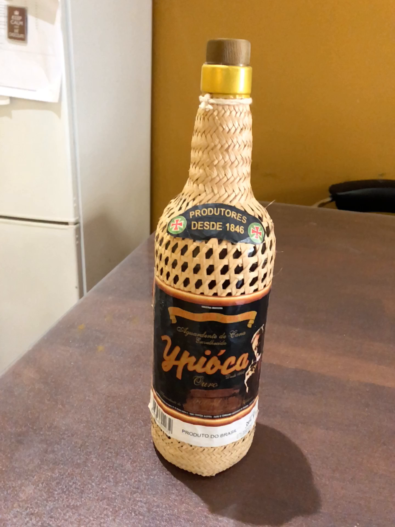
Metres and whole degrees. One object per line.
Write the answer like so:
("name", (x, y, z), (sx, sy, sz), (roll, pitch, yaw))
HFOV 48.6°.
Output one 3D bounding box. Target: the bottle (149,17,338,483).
("bottle", (0.015, 0.007, 0.334), (0.100, 0.328, 0.091), (1, 23, -5))
